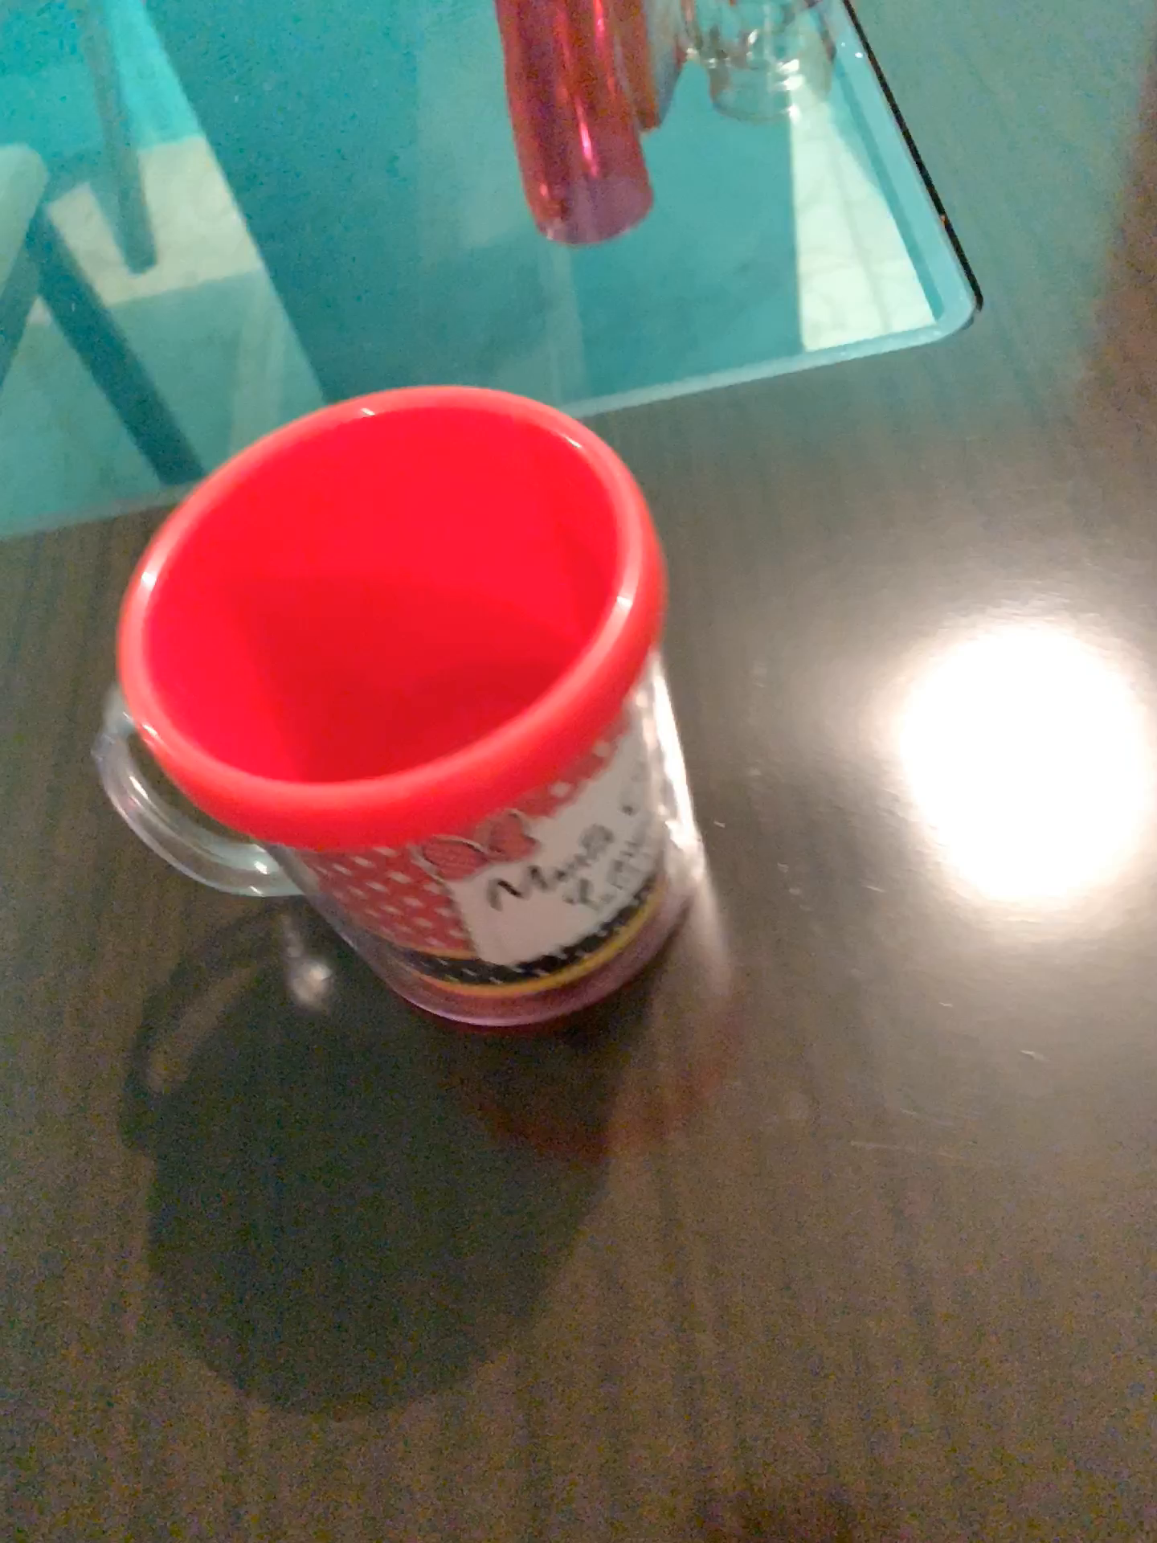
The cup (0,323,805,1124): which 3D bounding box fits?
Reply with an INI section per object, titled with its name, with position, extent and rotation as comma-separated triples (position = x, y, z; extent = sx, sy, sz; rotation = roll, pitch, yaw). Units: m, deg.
[cup]
position = -0.026, -0.001, 0.239
extent = 0.120, 0.110, 0.090
rotation = -12, 55, 5
